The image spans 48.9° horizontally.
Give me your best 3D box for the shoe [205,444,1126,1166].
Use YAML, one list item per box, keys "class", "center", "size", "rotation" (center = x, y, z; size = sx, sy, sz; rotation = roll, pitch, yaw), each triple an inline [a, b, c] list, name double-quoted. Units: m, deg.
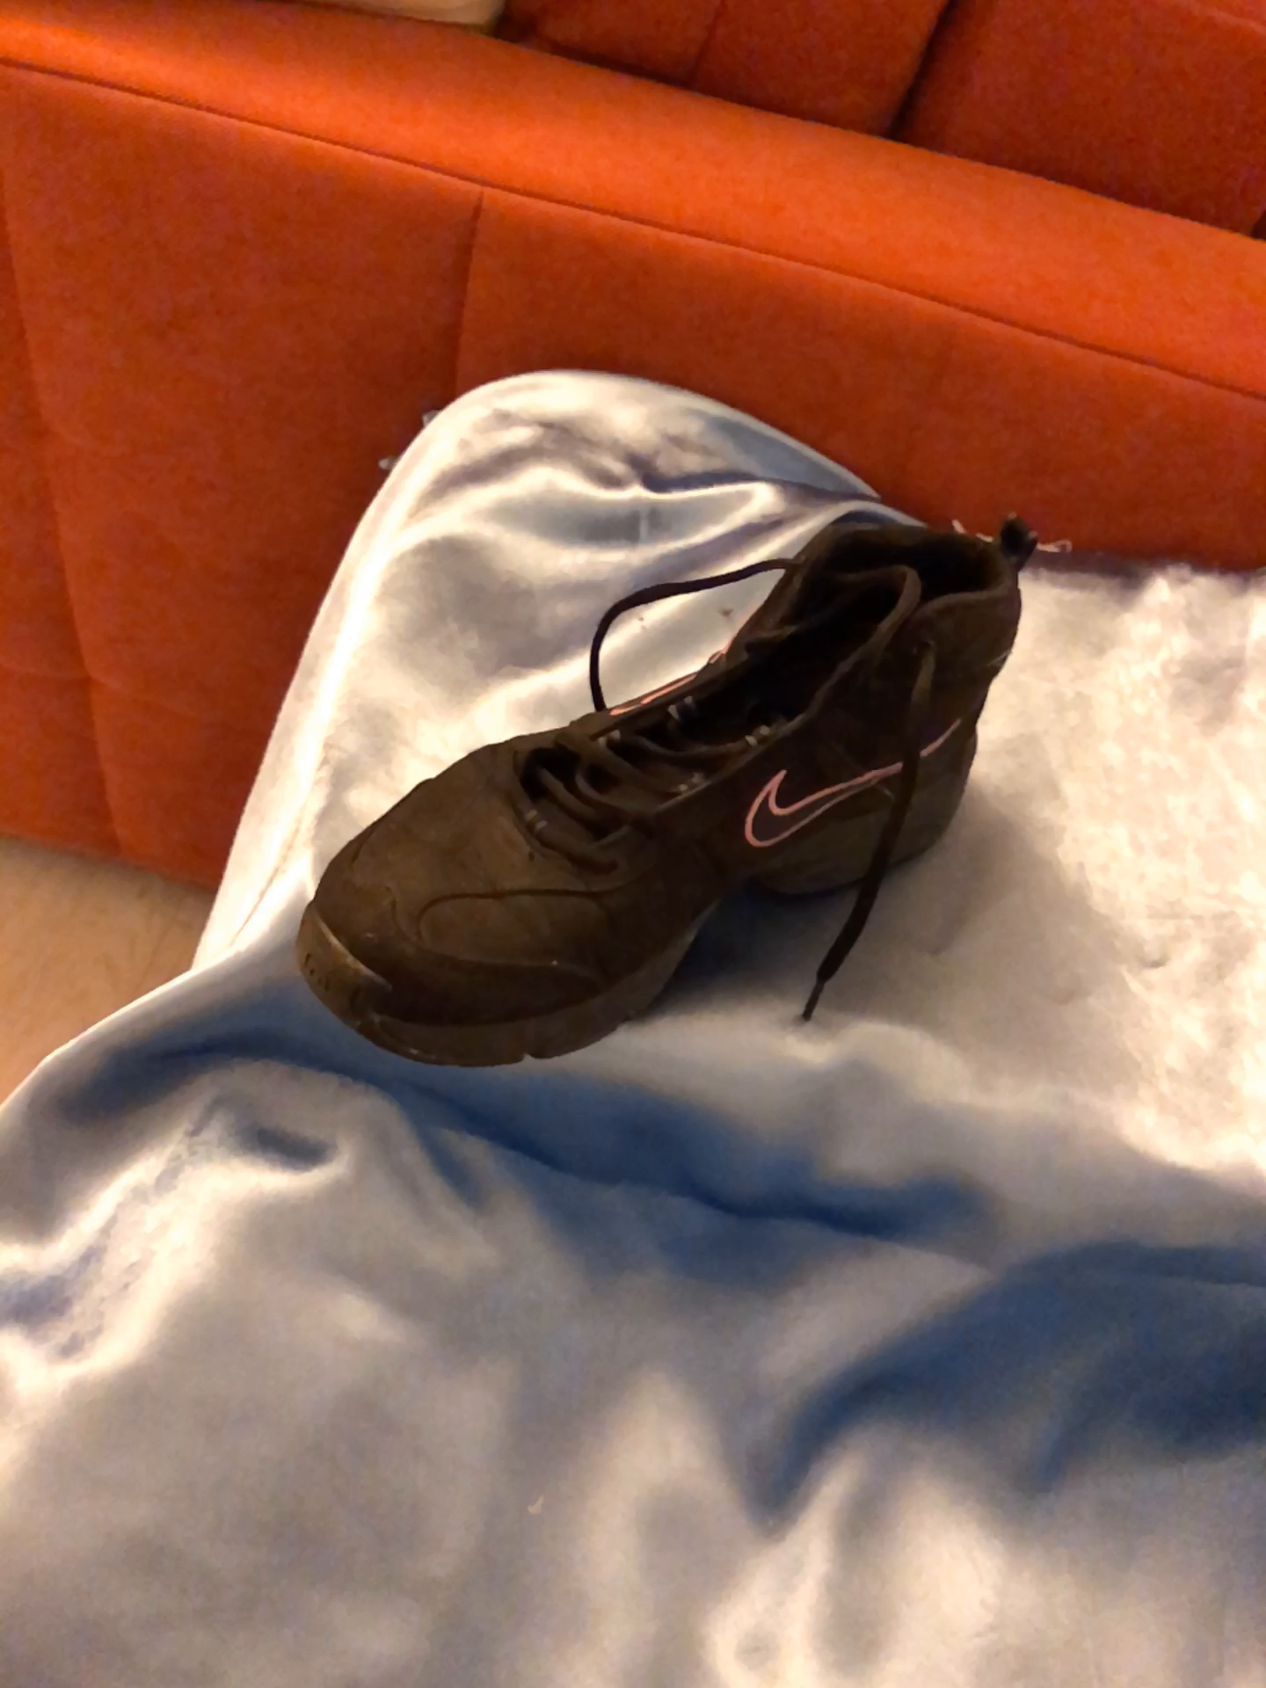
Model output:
- class: "shoe"
  center: [0.014, -0.024, 0.445]
  size: [0.261, 0.099, 0.107]
  rotation: [-25, 62, -28]
